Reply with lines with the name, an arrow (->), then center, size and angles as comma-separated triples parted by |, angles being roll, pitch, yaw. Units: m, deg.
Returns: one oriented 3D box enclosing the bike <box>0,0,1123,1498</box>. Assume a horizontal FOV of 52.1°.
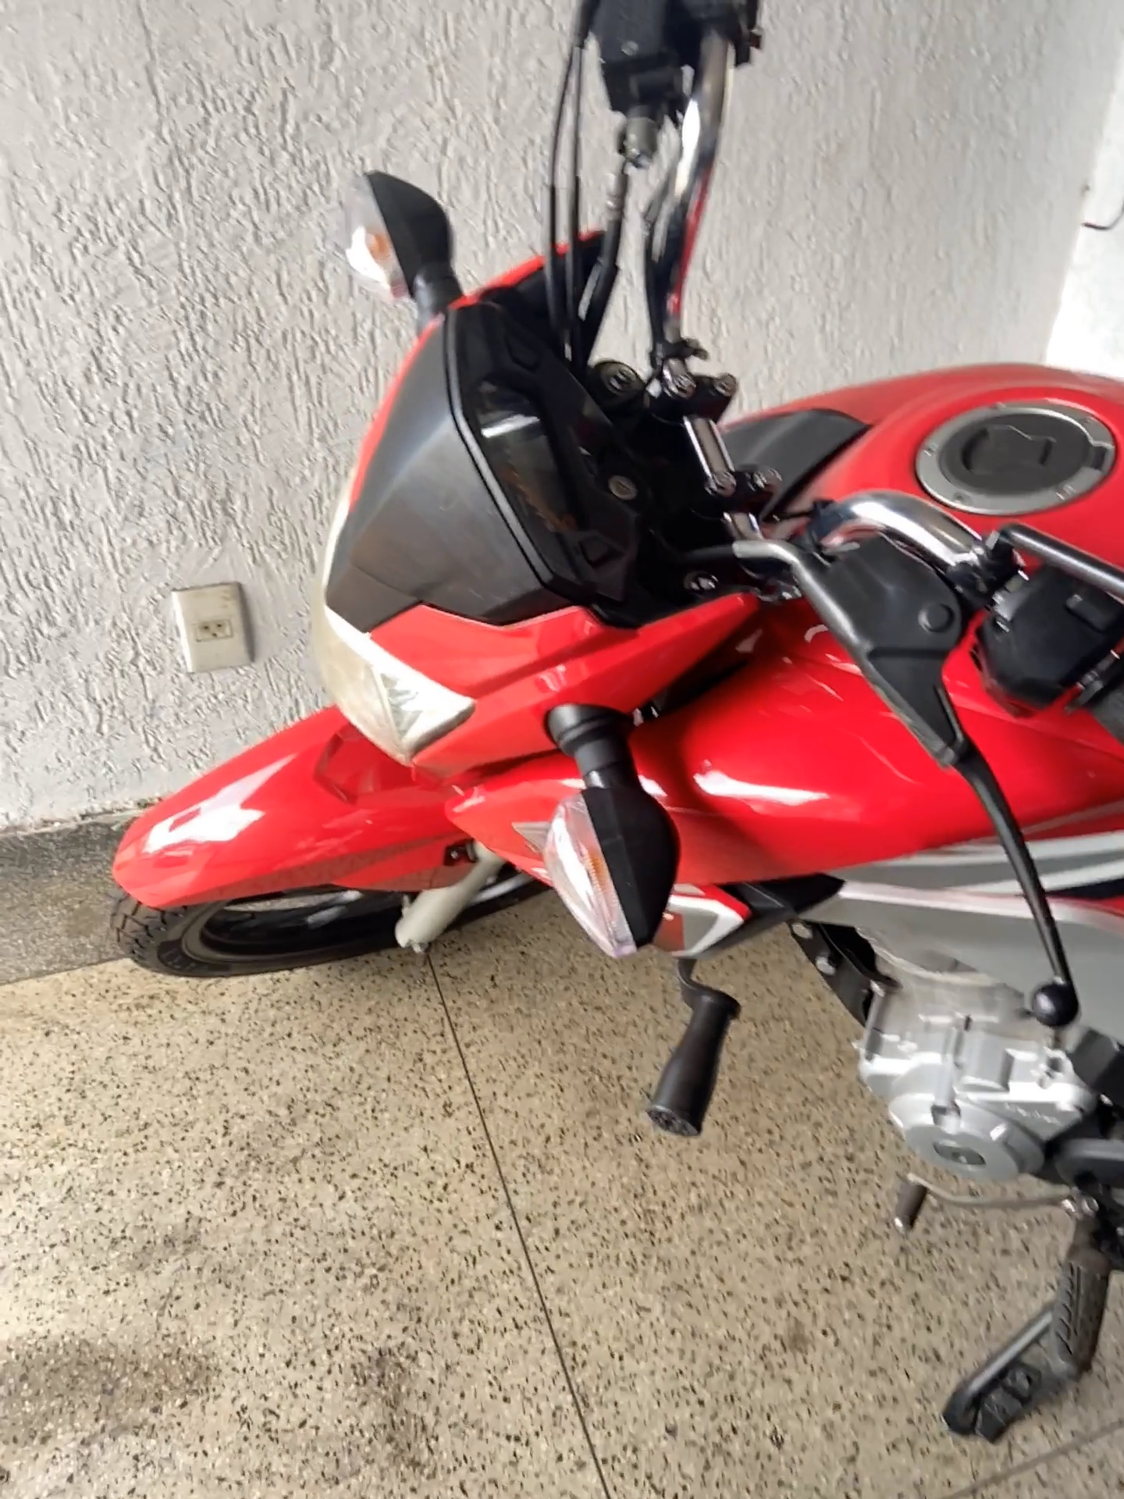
bike -> 0.408, 0.252, 0.847 | 1.990, 1.421, 0.873 | 10, 36, 15
